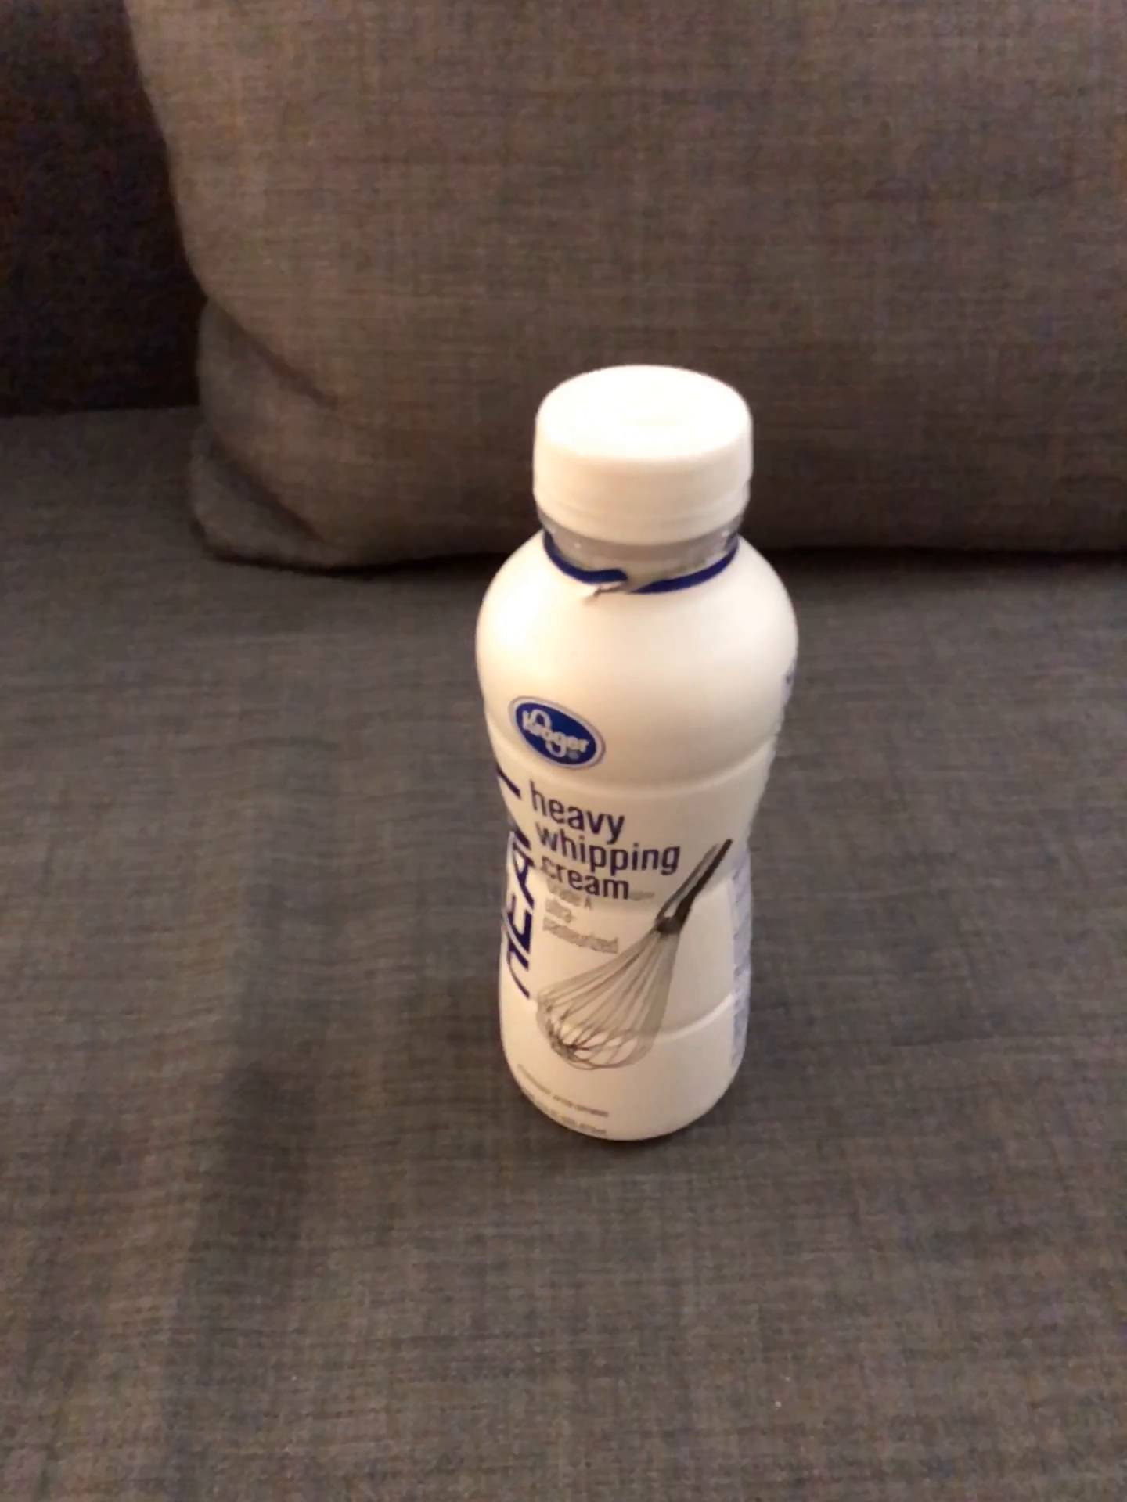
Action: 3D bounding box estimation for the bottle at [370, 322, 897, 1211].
[{"bbox_3d":[0.017,0.011,0.293,0.070,0.189,0.070,-2,39,1],"label":"bottle"}]
